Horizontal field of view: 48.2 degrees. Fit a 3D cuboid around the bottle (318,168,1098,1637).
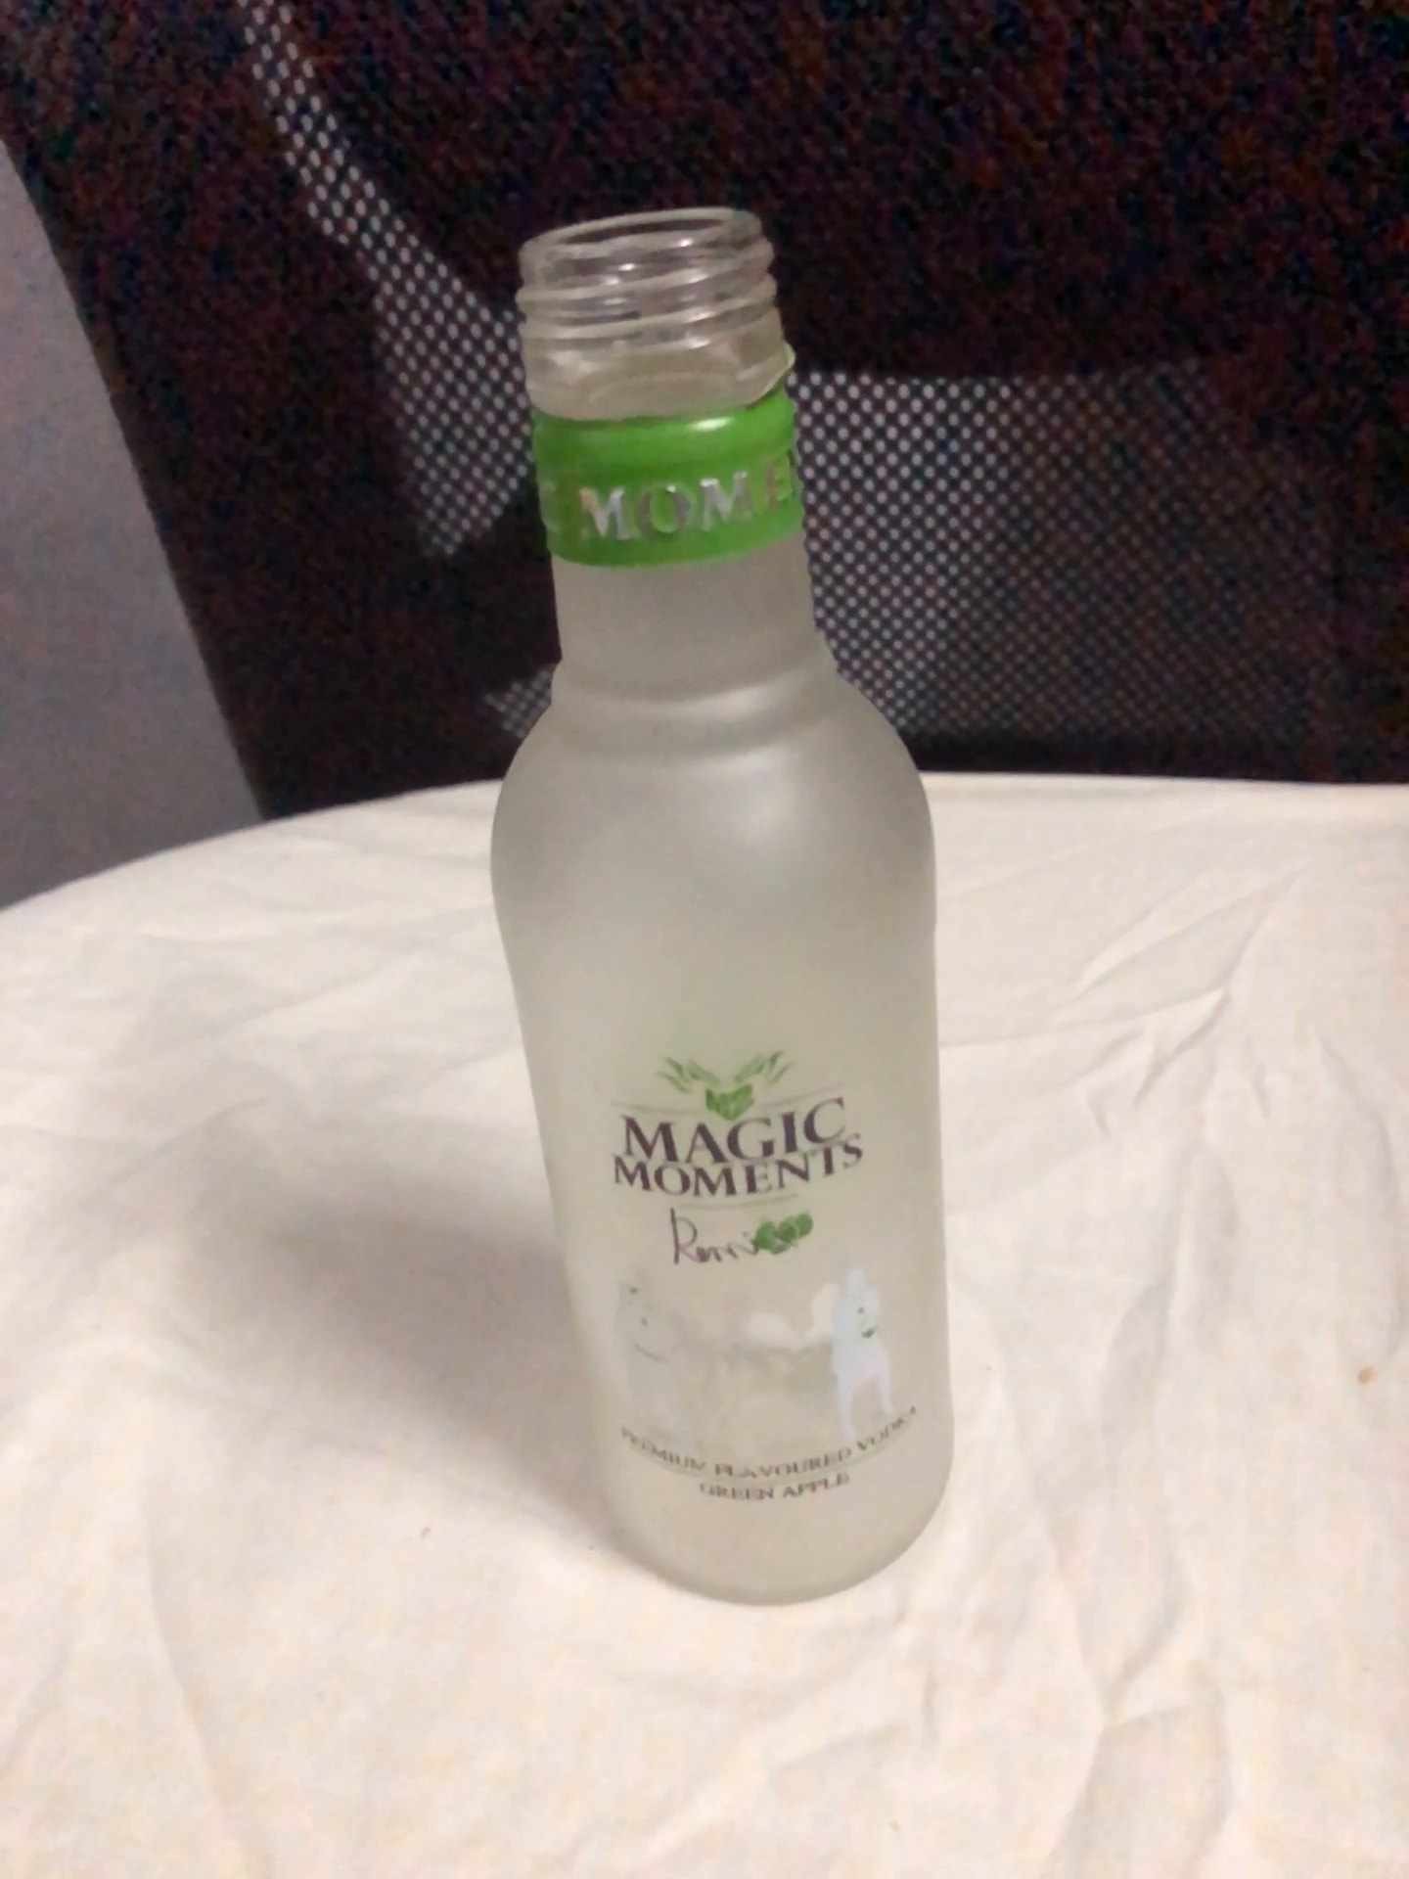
[{"bbox_3d":[0.008,0.008,0.186,0.060,0.169,0.050,-2,32,6],"label":"bottle"}]
